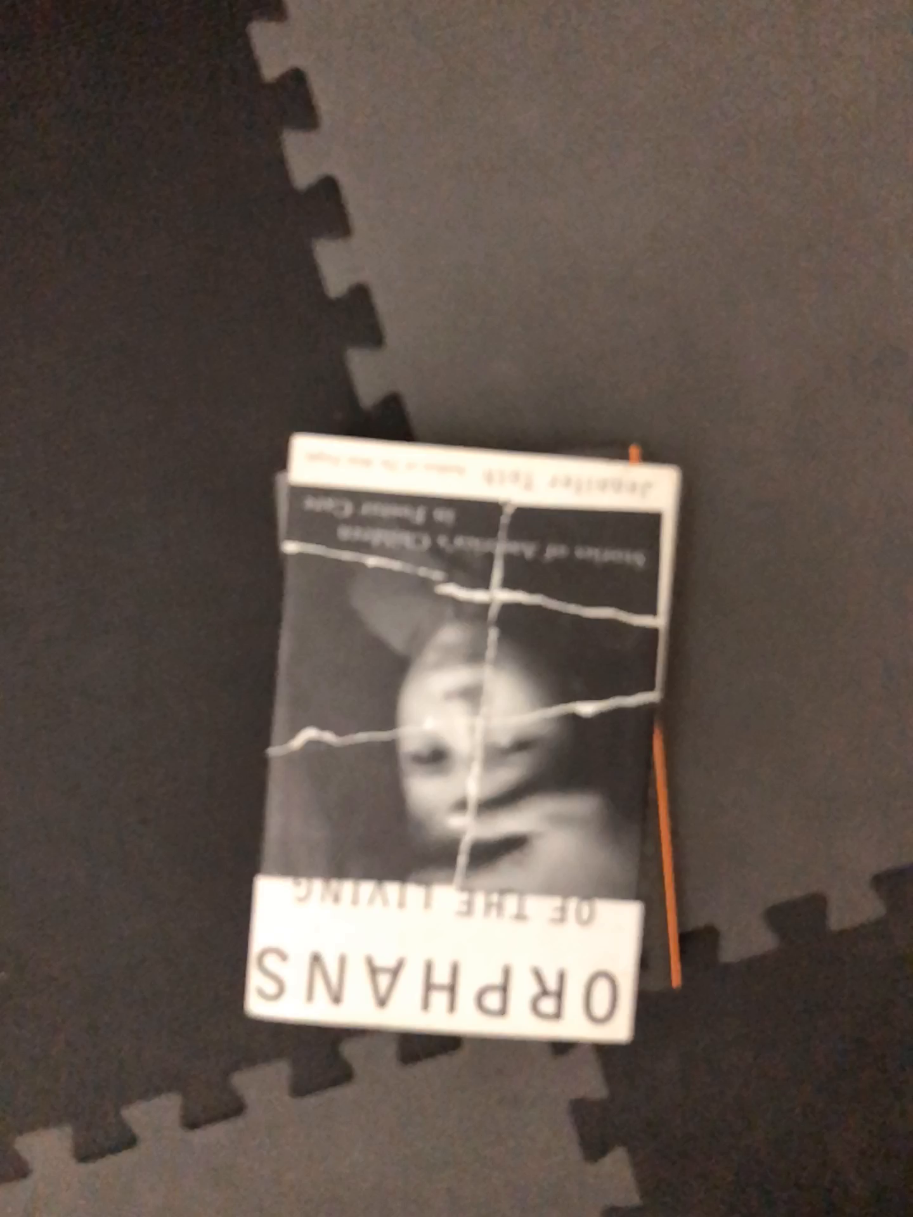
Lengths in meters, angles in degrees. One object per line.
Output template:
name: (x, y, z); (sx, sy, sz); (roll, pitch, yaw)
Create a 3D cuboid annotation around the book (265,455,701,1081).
book: (0.011, 0.068, 0.453); (0.160, 0.030, 0.250); (-6, 90, 0)

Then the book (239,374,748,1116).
book: (0.015, 0.054, 0.423); (0.180, 0.030, 0.280); (4, 90, 0)
